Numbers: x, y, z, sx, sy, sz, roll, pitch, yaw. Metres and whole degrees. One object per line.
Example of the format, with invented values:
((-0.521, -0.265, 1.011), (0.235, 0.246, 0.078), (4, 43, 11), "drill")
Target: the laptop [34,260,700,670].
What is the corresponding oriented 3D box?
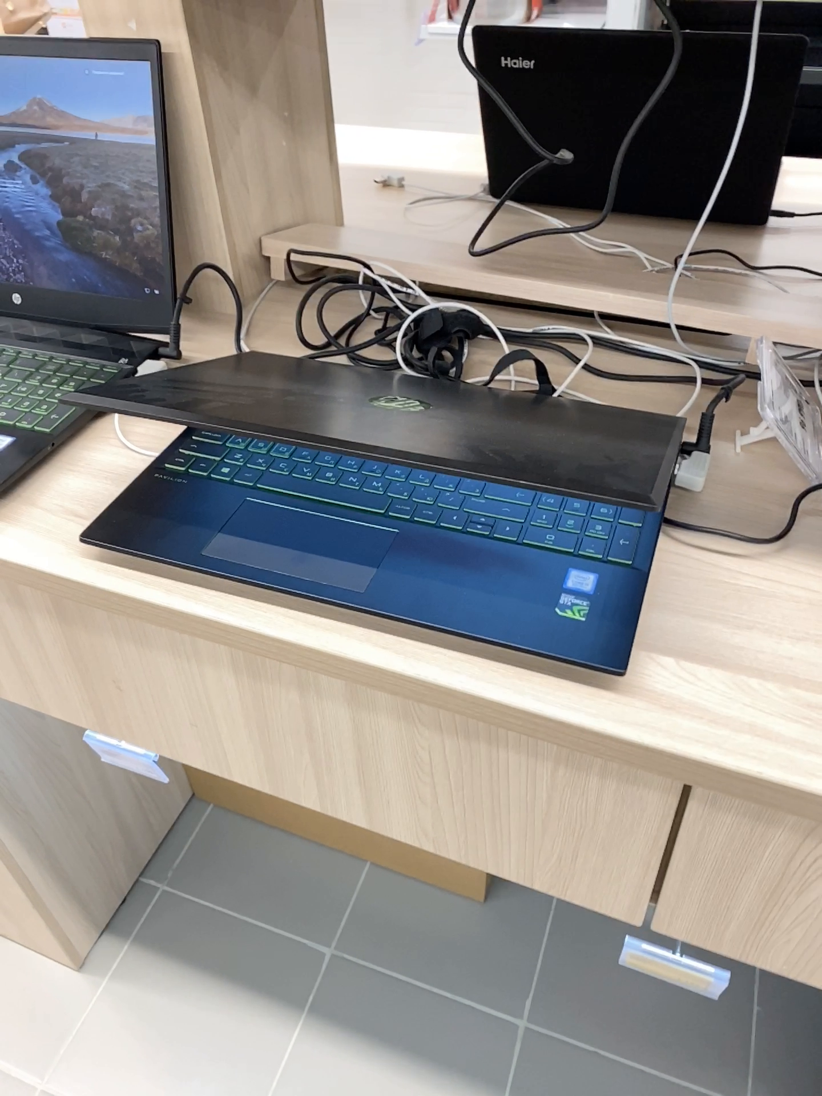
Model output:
((-0.012, -0.081, 0.566), (0.361, 0.092, 0.243), (12, 43, 16), "laptop")
